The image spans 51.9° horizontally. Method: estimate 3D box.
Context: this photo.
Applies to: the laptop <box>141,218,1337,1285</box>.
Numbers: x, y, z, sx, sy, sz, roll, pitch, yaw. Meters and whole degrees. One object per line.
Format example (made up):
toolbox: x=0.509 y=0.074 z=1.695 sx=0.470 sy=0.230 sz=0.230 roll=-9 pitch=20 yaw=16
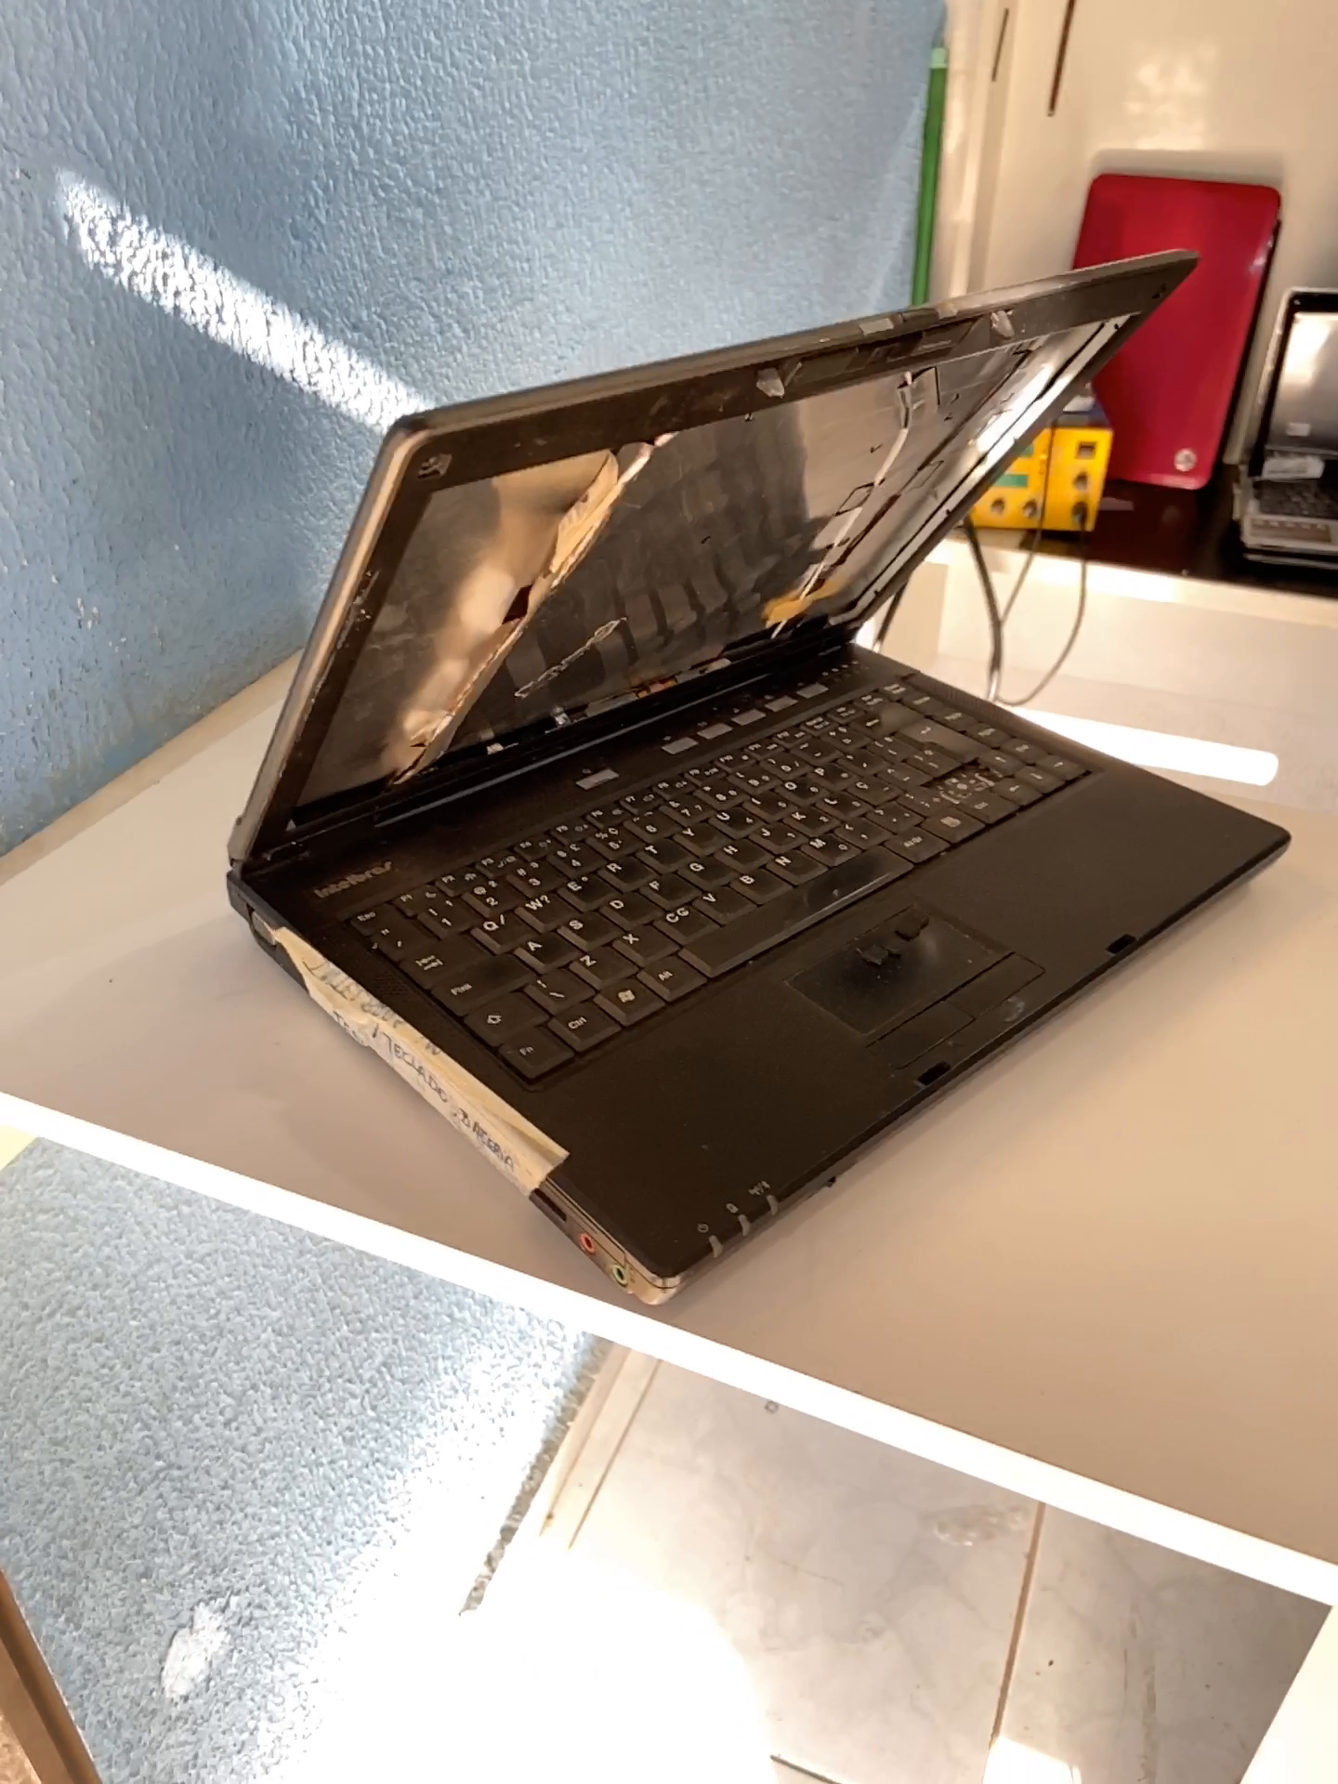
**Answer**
laptop: x=0.047 y=-0.090 z=0.457 sx=0.323 sy=0.191 sz=0.231 roll=-26 pitch=42 yaw=-34
